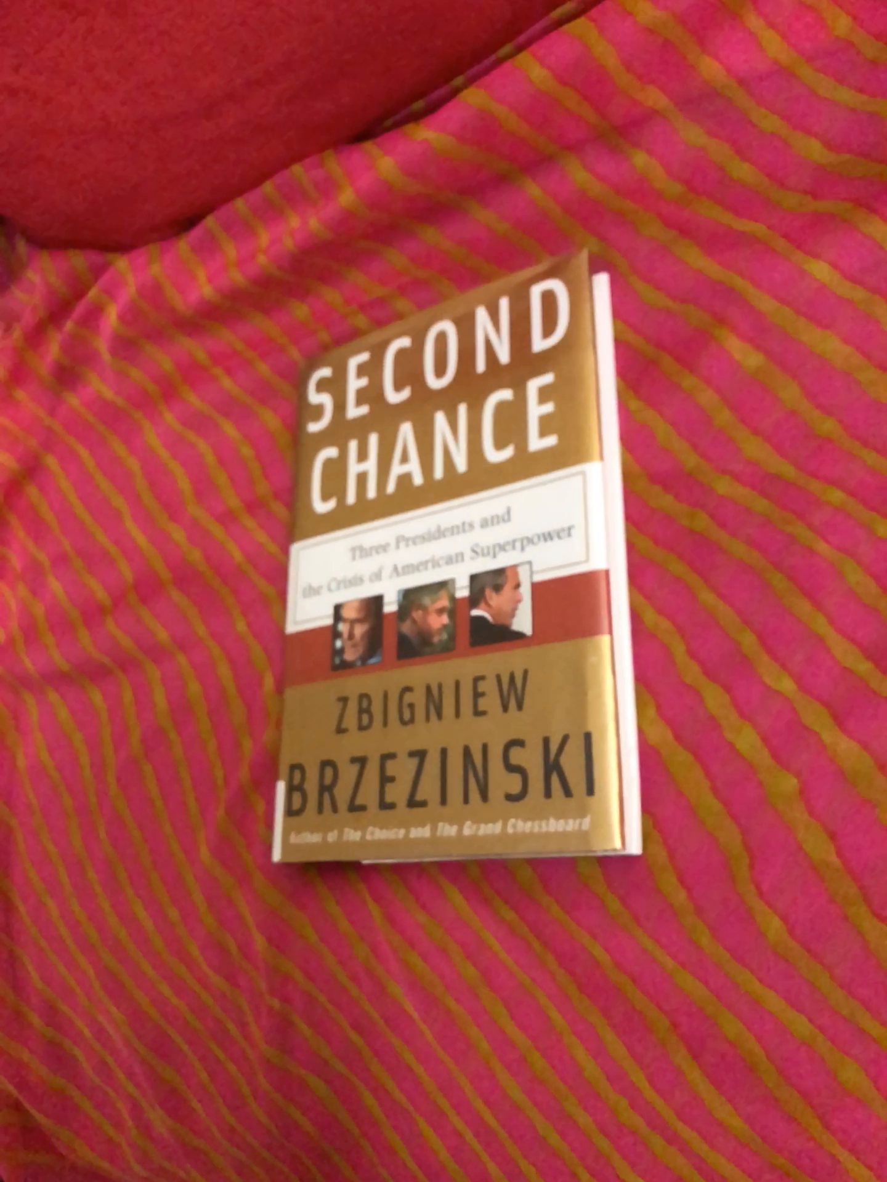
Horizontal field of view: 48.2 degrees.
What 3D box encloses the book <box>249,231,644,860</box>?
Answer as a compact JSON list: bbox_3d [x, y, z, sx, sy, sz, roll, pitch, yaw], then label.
[{"bbox_3d":[-0.005,-0.008,0.360,0.141,0.037,0.200,-14,68,38],"label":"book"}]
